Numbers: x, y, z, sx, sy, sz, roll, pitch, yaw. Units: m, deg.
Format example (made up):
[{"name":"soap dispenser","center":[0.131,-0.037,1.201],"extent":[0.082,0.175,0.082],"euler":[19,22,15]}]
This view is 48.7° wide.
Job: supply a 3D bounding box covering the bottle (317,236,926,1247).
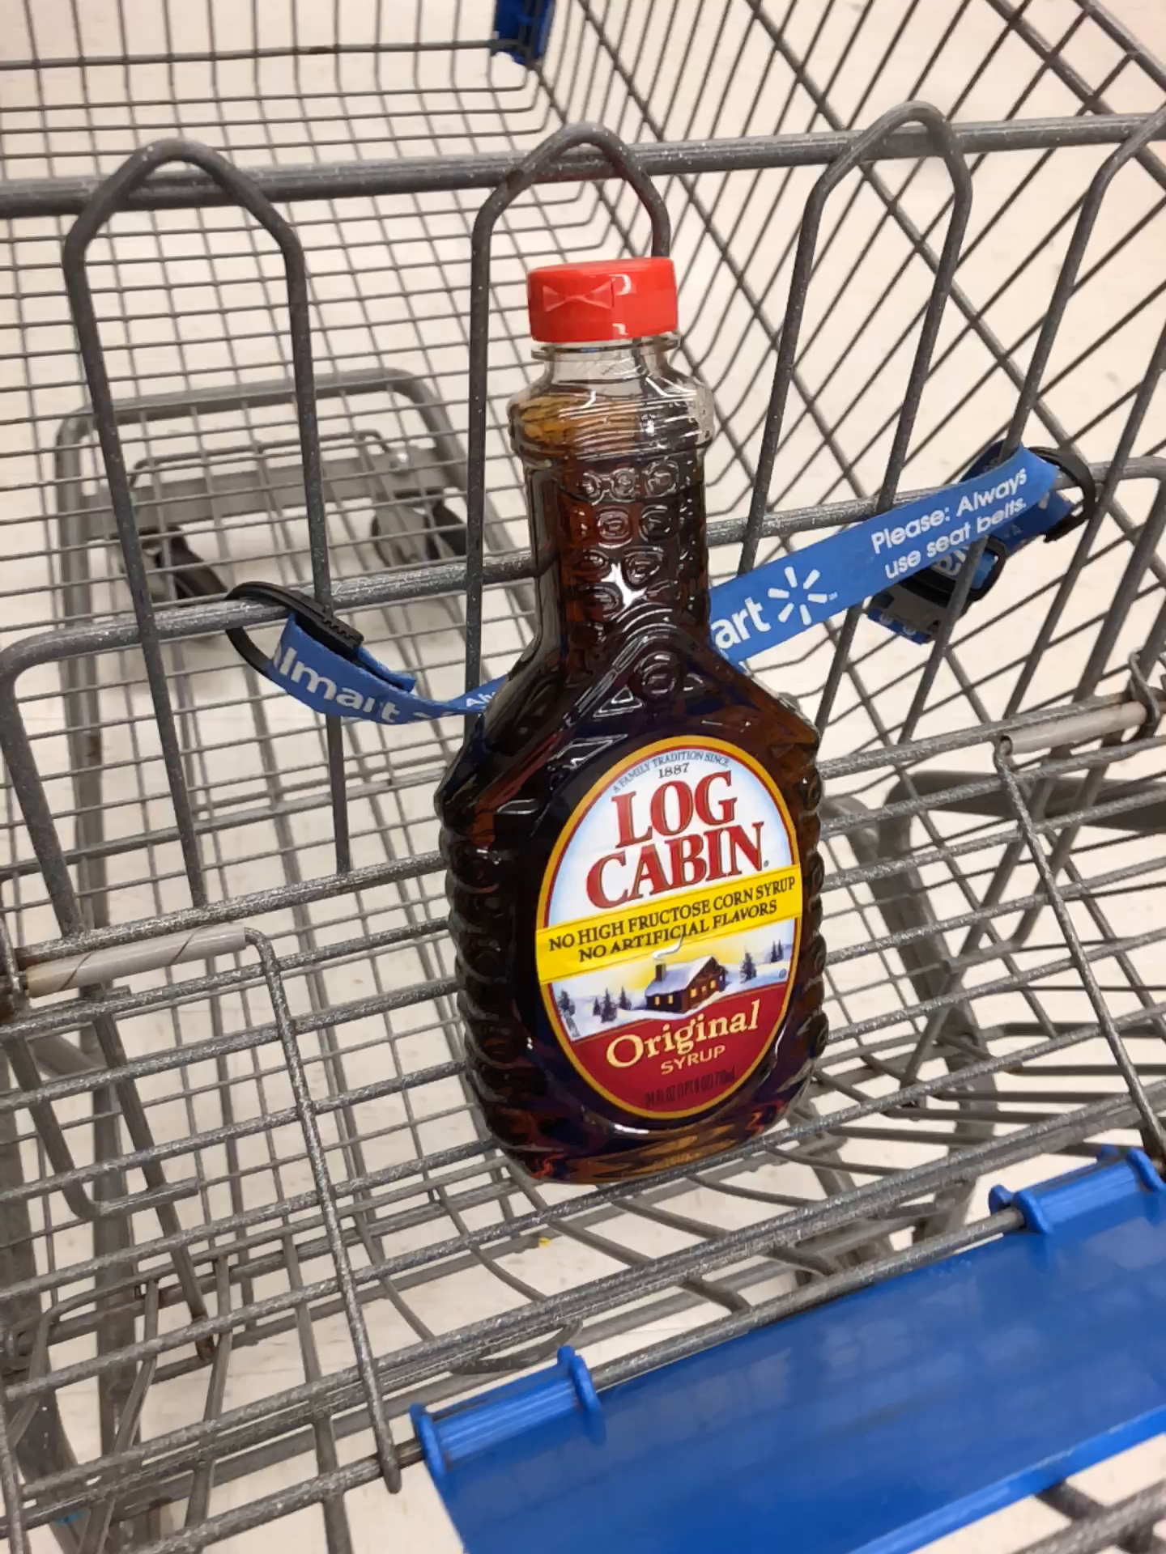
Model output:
[{"name":"bottle","center":[0.015,-0.005,0.338],"extent":[0.120,0.240,0.060],"euler":[-14,28,-18]}]
